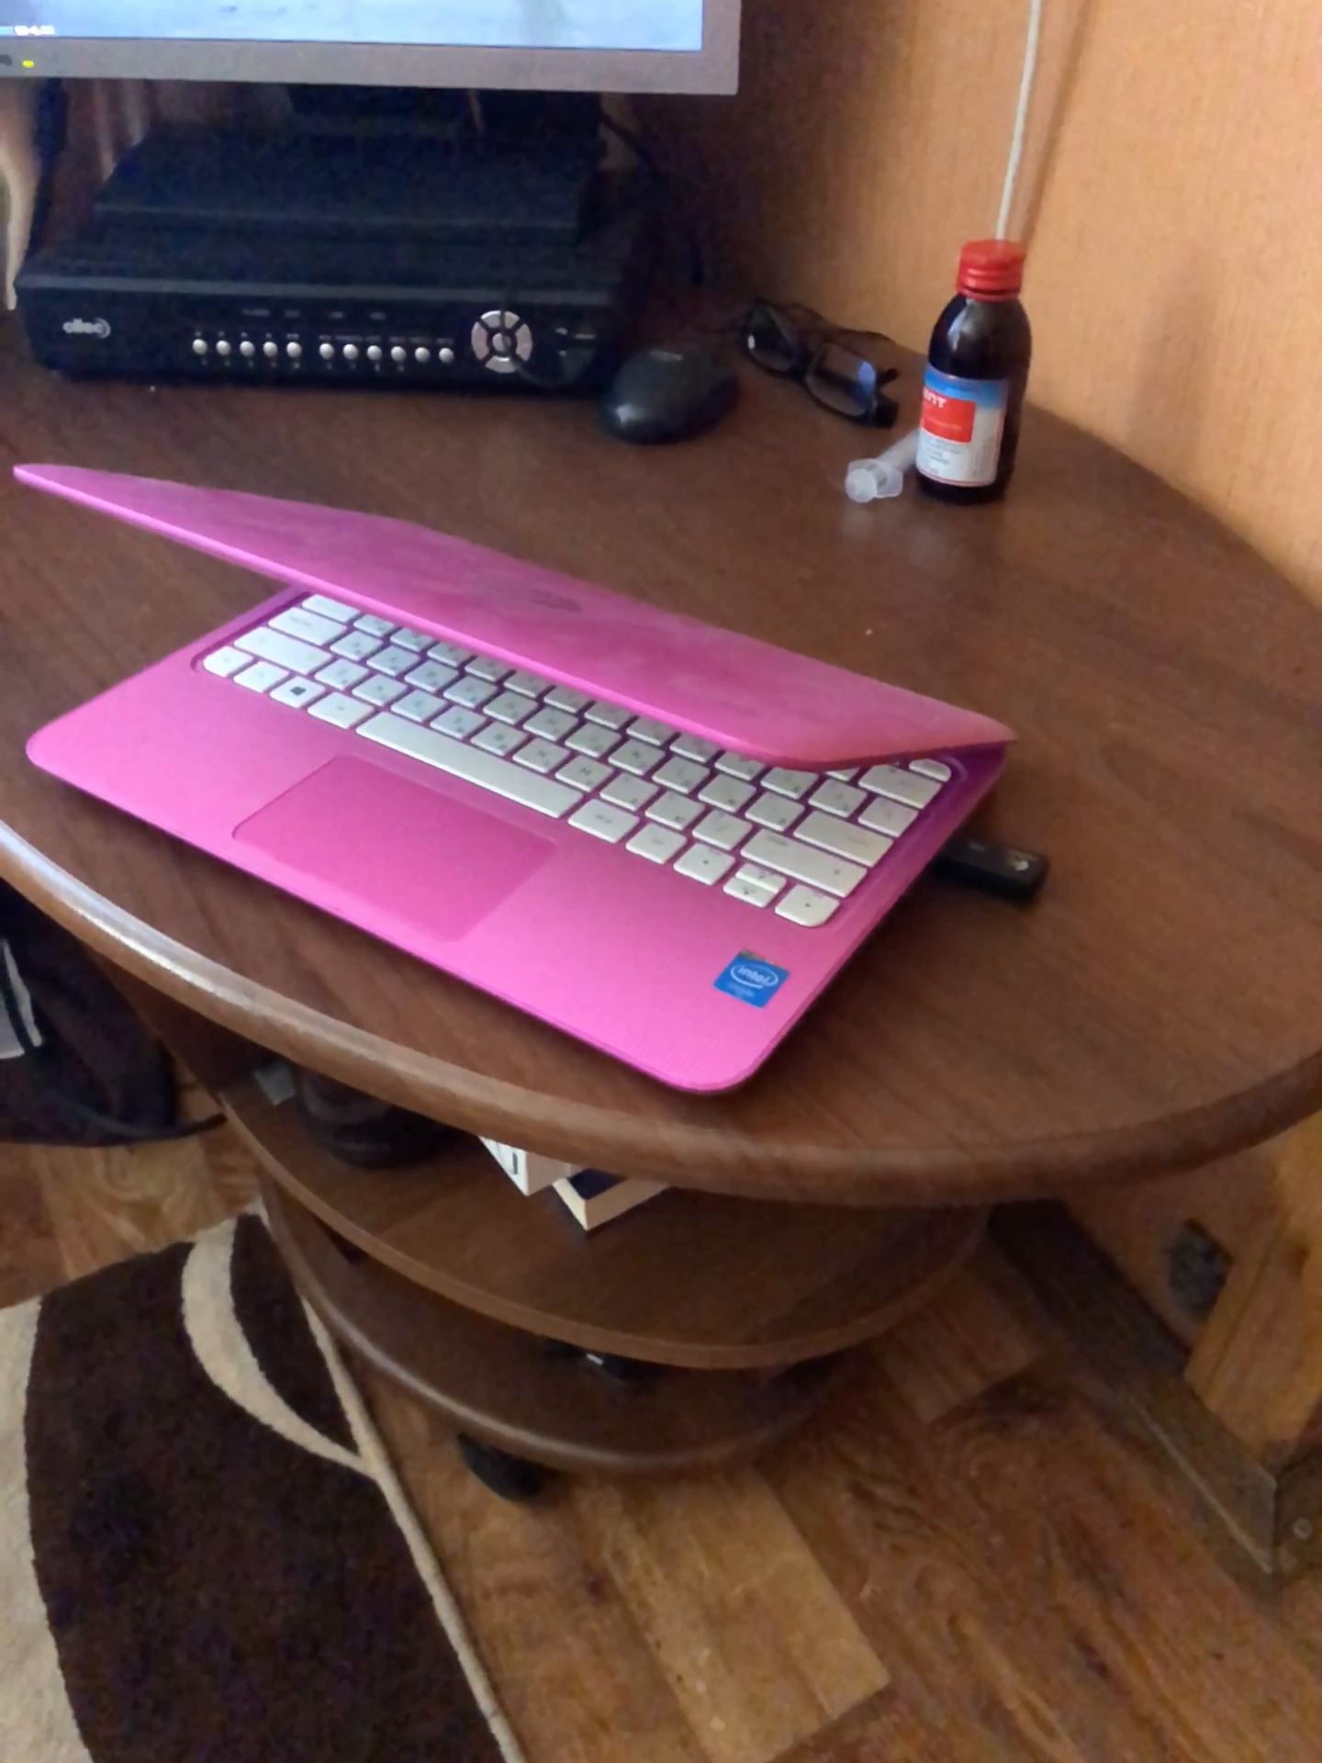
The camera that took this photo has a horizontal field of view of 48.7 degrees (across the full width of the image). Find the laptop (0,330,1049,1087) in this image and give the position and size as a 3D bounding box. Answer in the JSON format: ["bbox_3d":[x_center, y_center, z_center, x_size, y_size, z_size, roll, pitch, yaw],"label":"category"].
[{"bbox_3d":[-0.046,-0.077,0.454,0.264,0.081,0.187,23,45,25],"label":"laptop"}]
